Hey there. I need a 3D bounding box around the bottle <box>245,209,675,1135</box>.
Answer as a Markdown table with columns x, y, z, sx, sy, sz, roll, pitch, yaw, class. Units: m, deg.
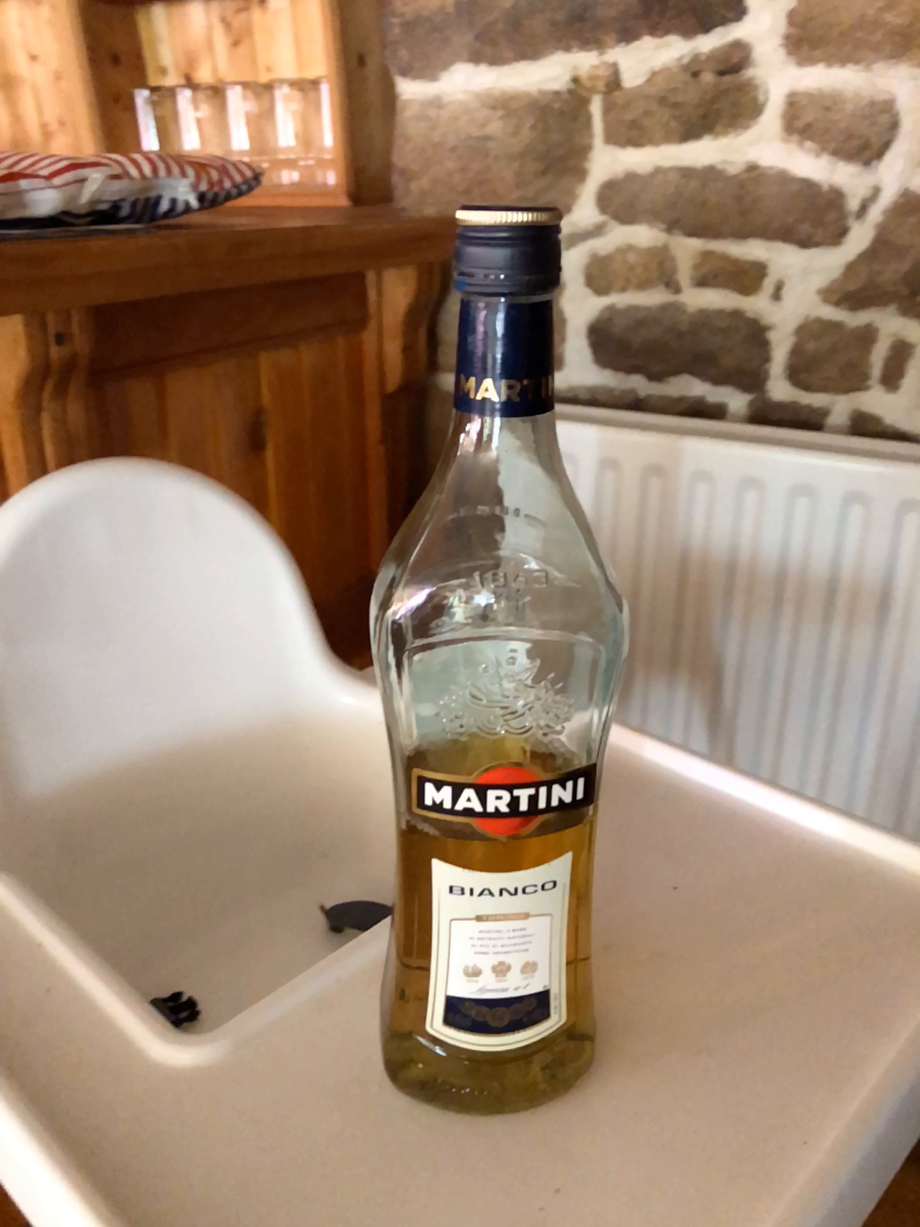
| x | y | z | sx | sy | sz | roll | pitch | yaw | class |
| --- | --- | --- | --- | --- | --- | --- | --- | --- | --- |
| 0.001 | 0.031 | 0.356 | 0.110 | 0.318 | 0.080 | -1 | 22 | -1 | bottle |
